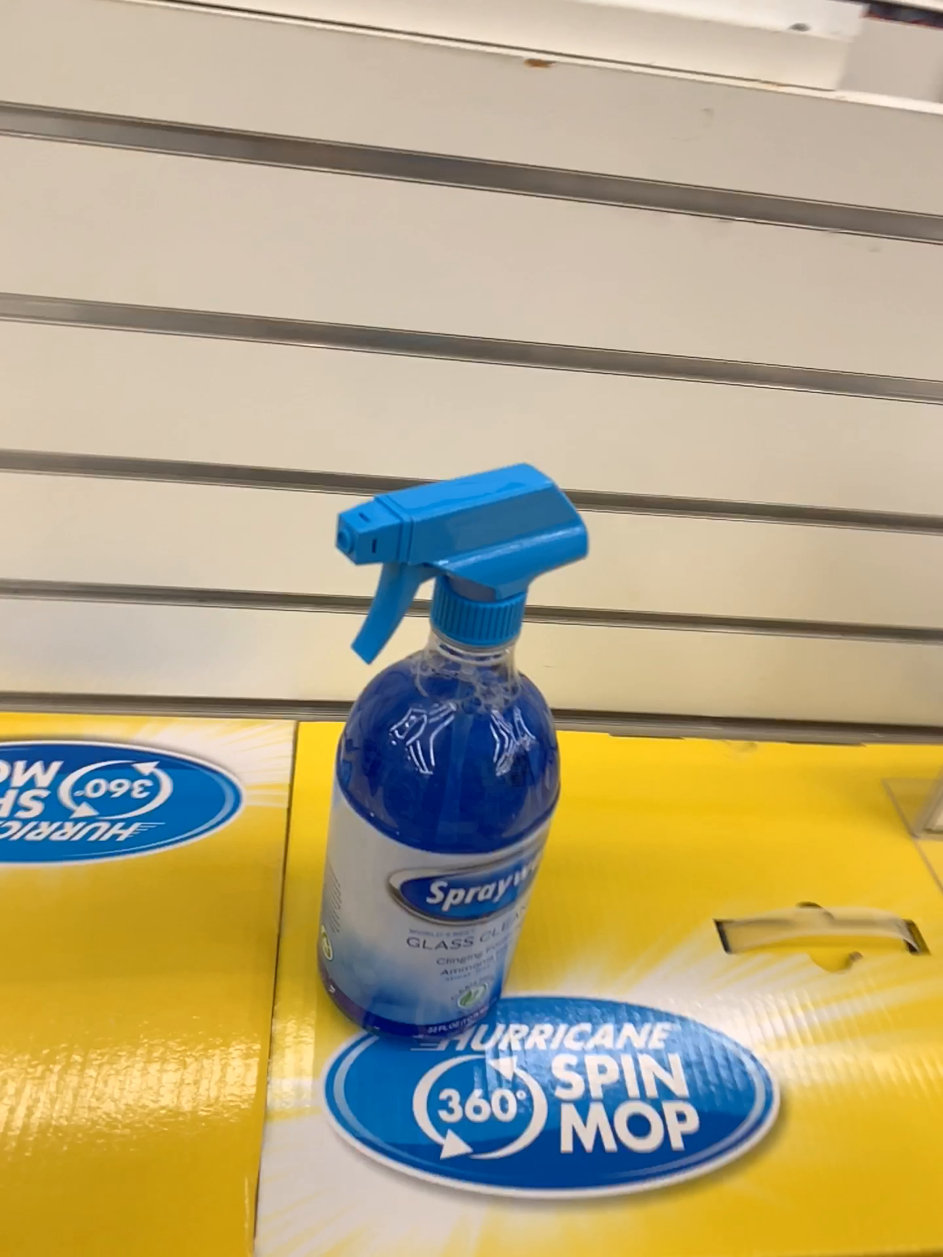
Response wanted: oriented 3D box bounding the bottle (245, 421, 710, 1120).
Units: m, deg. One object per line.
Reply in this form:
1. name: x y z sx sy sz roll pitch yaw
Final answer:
1. bottle: -0.015 0.058 0.357 0.110 0.239 0.090 -12 41 -26
